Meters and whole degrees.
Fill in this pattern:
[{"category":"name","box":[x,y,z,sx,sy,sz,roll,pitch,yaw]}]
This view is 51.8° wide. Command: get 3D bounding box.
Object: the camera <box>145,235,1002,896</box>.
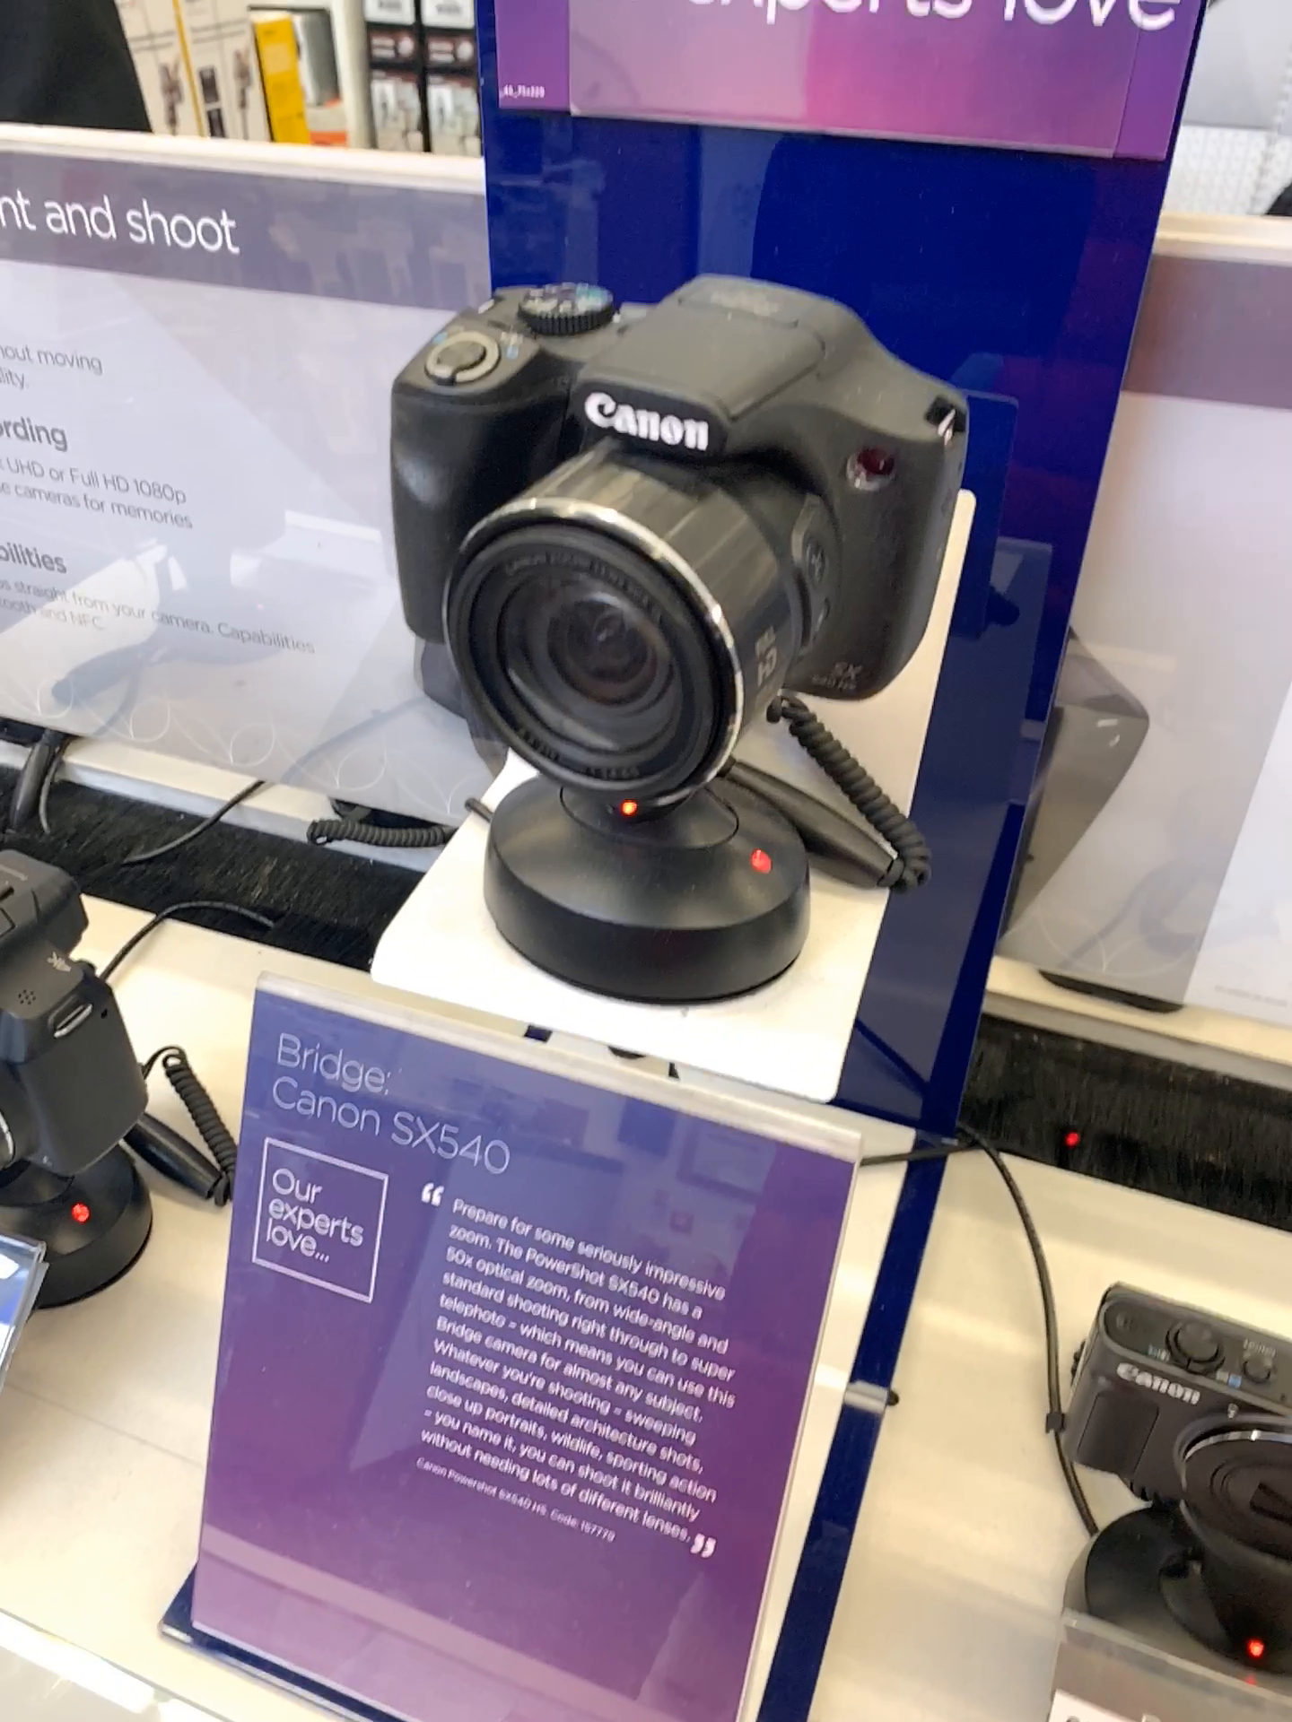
[{"category":"camera","box":[-0.008,-0.069,0.268,0.120,0.069,0.111,18,42,21]}]
